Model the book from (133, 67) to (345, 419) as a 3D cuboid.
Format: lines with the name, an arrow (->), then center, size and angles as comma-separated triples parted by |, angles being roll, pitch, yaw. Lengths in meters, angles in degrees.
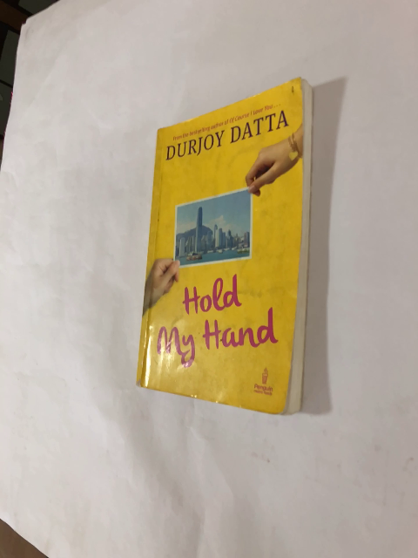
book -> 0.013, -0.020, 0.299 | 0.141, 0.020, 0.190 | -2, 80, 40
